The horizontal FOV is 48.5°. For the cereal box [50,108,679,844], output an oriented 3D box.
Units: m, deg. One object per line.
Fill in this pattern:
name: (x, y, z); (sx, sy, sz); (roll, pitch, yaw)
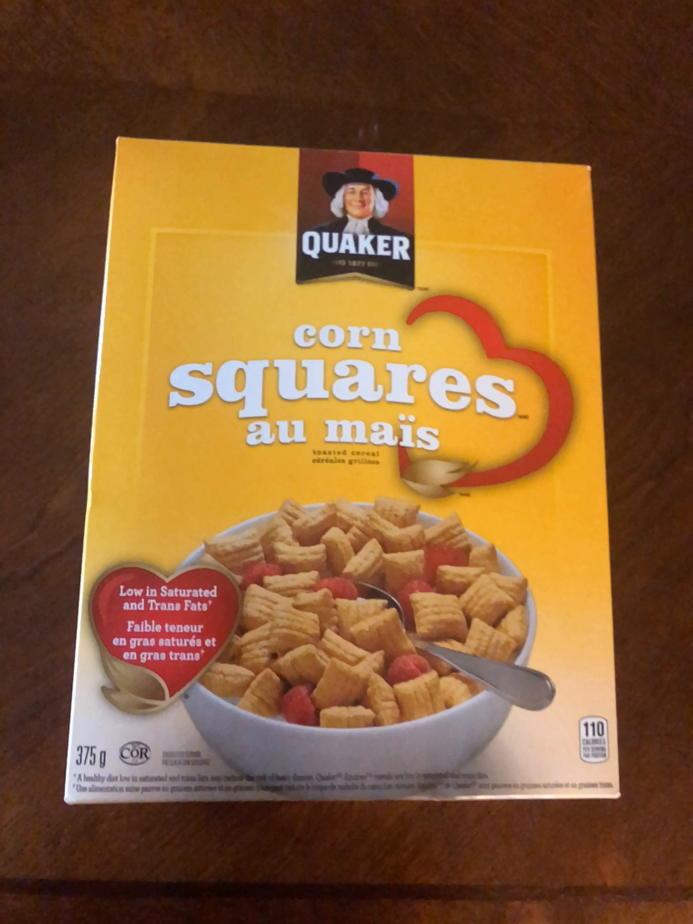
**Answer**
cereal box: (0.010, 0.001, 0.316); (0.220, 0.050, 0.270); (2, 79, -7)
